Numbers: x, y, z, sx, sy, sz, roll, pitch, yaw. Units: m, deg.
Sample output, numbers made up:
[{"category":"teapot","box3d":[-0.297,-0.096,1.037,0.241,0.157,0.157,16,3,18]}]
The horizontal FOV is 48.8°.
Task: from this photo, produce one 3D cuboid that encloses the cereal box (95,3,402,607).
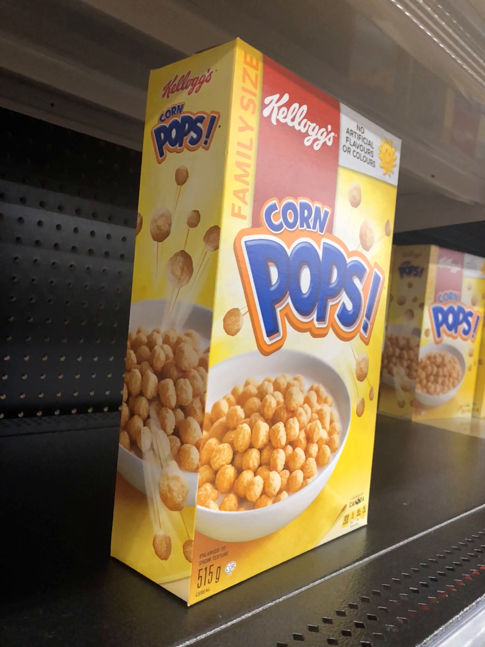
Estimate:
[{"category":"cereal box","box3d":[0.018,-0.009,0.387,0.090,0.320,0.200,4,-1,41]}]
